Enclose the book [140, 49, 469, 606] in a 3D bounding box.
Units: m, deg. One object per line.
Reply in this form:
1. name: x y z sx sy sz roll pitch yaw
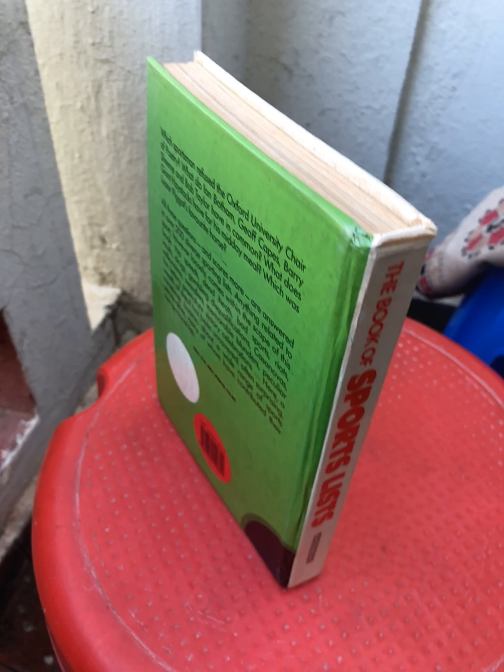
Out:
1. book: 0.000 0.006 0.267 0.030 0.219 0.150 -21 48 -26
